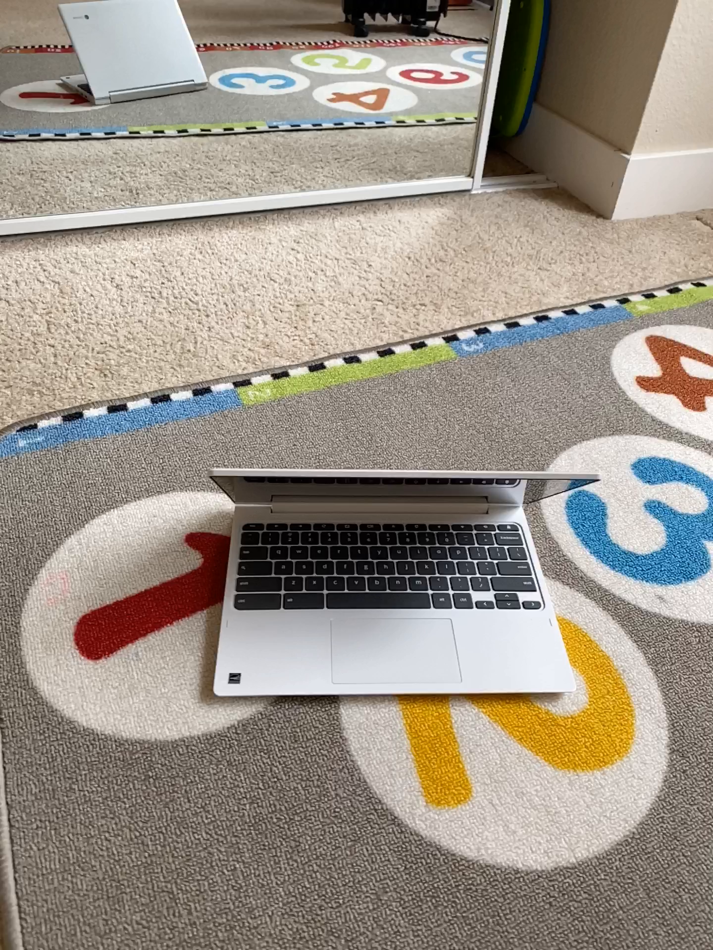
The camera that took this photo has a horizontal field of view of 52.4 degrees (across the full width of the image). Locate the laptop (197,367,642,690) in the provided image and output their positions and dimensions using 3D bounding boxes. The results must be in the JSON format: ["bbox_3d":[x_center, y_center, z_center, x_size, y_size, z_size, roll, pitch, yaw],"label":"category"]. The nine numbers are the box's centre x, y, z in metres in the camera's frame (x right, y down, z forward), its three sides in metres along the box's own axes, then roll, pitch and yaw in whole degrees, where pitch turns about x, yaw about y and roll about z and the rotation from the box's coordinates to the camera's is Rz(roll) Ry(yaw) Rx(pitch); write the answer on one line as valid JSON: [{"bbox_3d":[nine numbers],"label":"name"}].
[{"bbox_3d":[0.035,0.042,0.617,0.298,0.162,0.217,1,42,-4],"label":"laptop"}]
